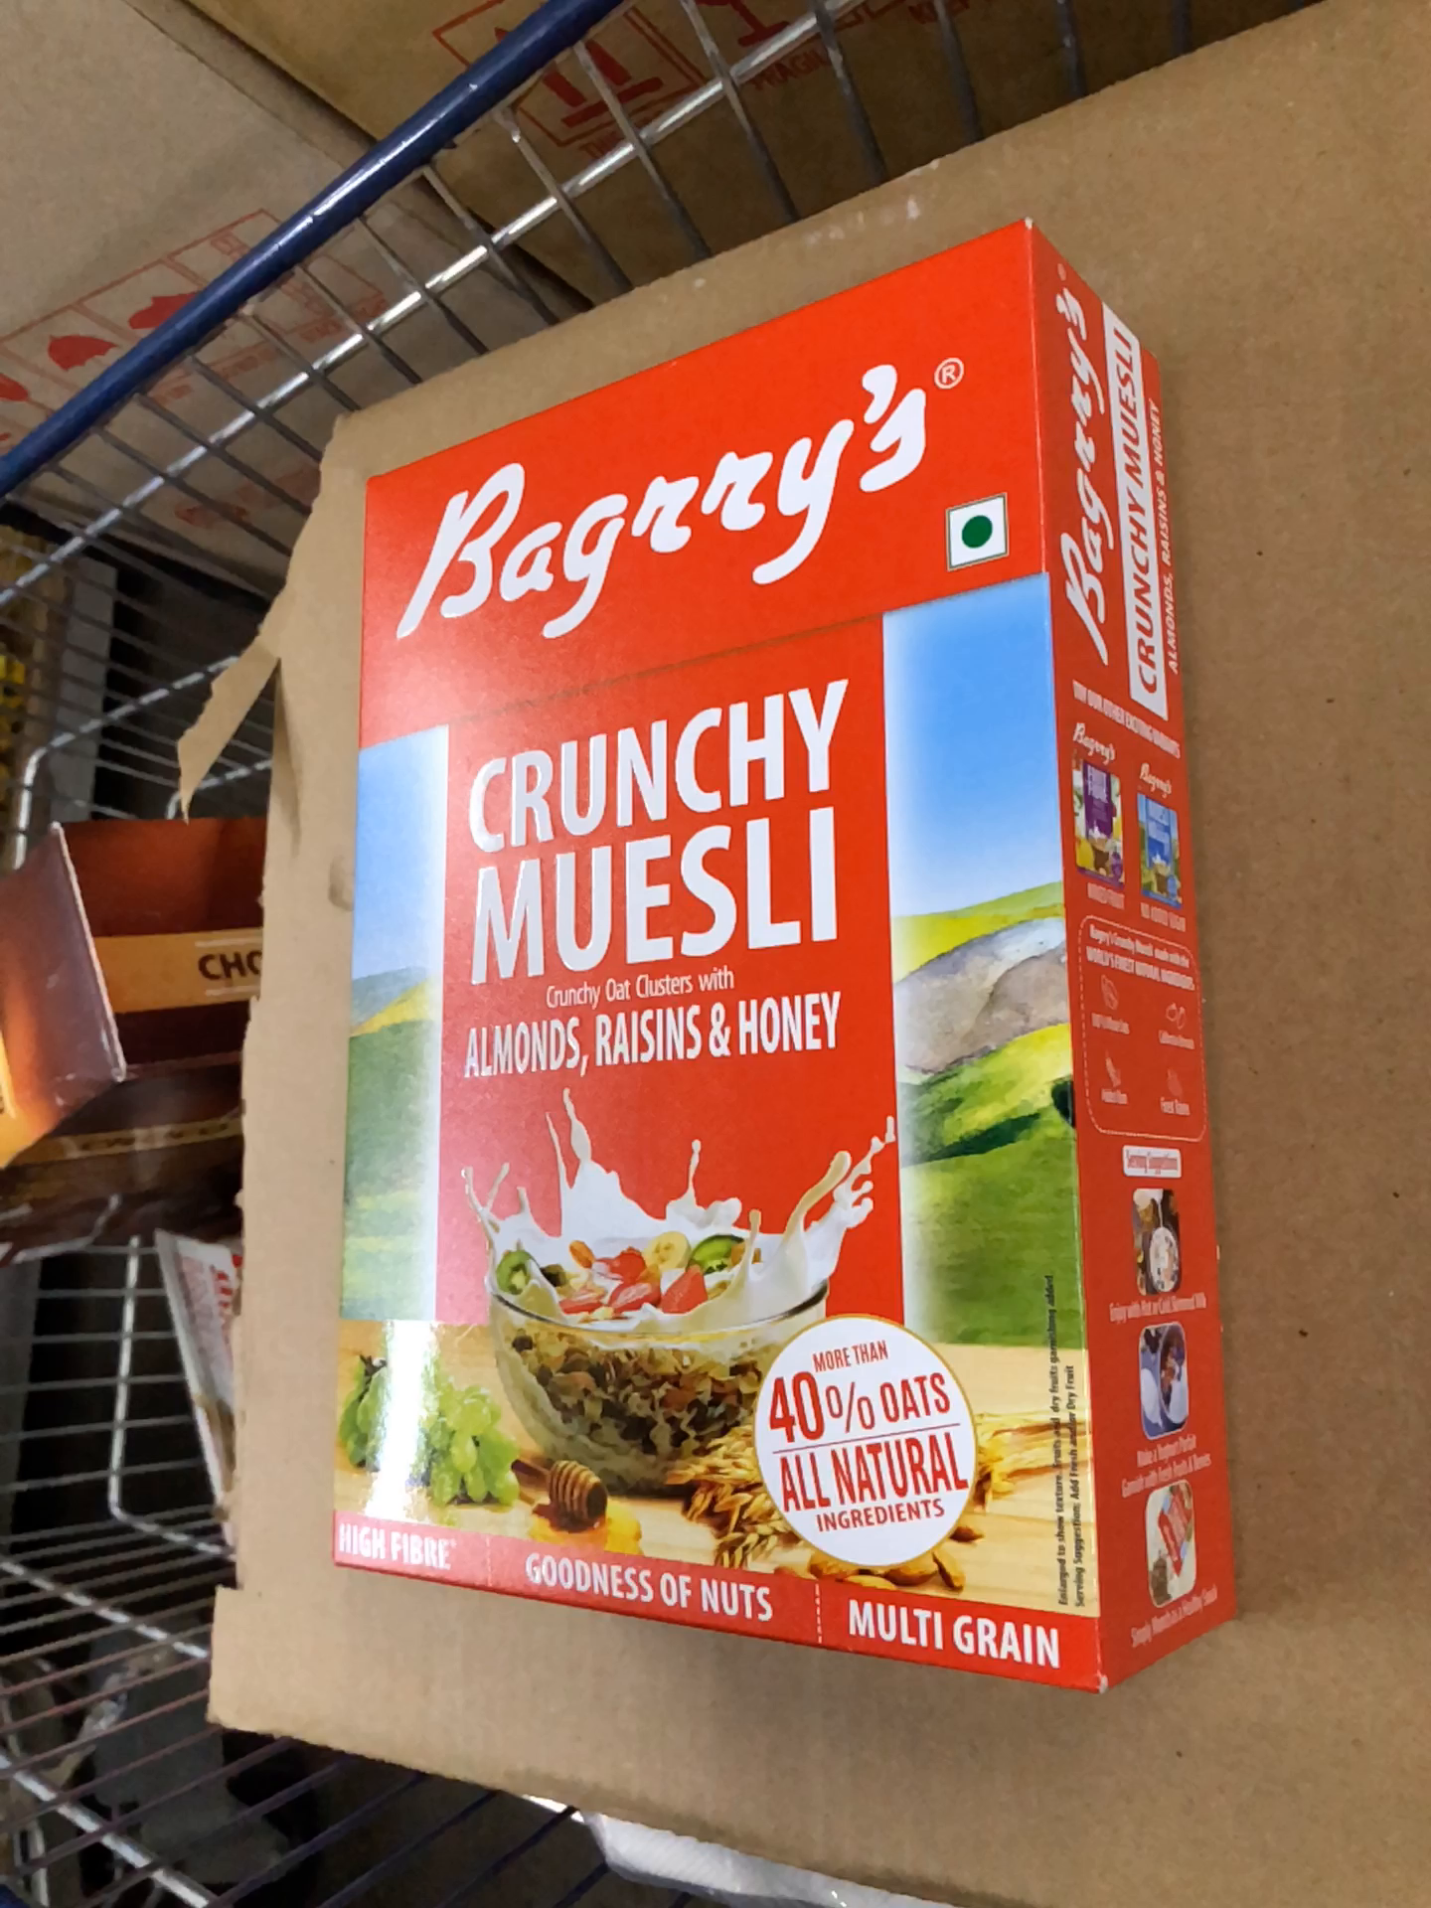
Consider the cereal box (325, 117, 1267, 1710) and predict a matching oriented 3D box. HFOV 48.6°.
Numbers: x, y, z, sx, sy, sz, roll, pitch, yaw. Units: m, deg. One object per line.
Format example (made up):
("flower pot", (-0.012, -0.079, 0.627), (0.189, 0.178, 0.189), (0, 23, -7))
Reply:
("cereal box", (0.006, -0.004, 0.336), (0.181, 0.070, 0.260), (-7, 80, 36))
